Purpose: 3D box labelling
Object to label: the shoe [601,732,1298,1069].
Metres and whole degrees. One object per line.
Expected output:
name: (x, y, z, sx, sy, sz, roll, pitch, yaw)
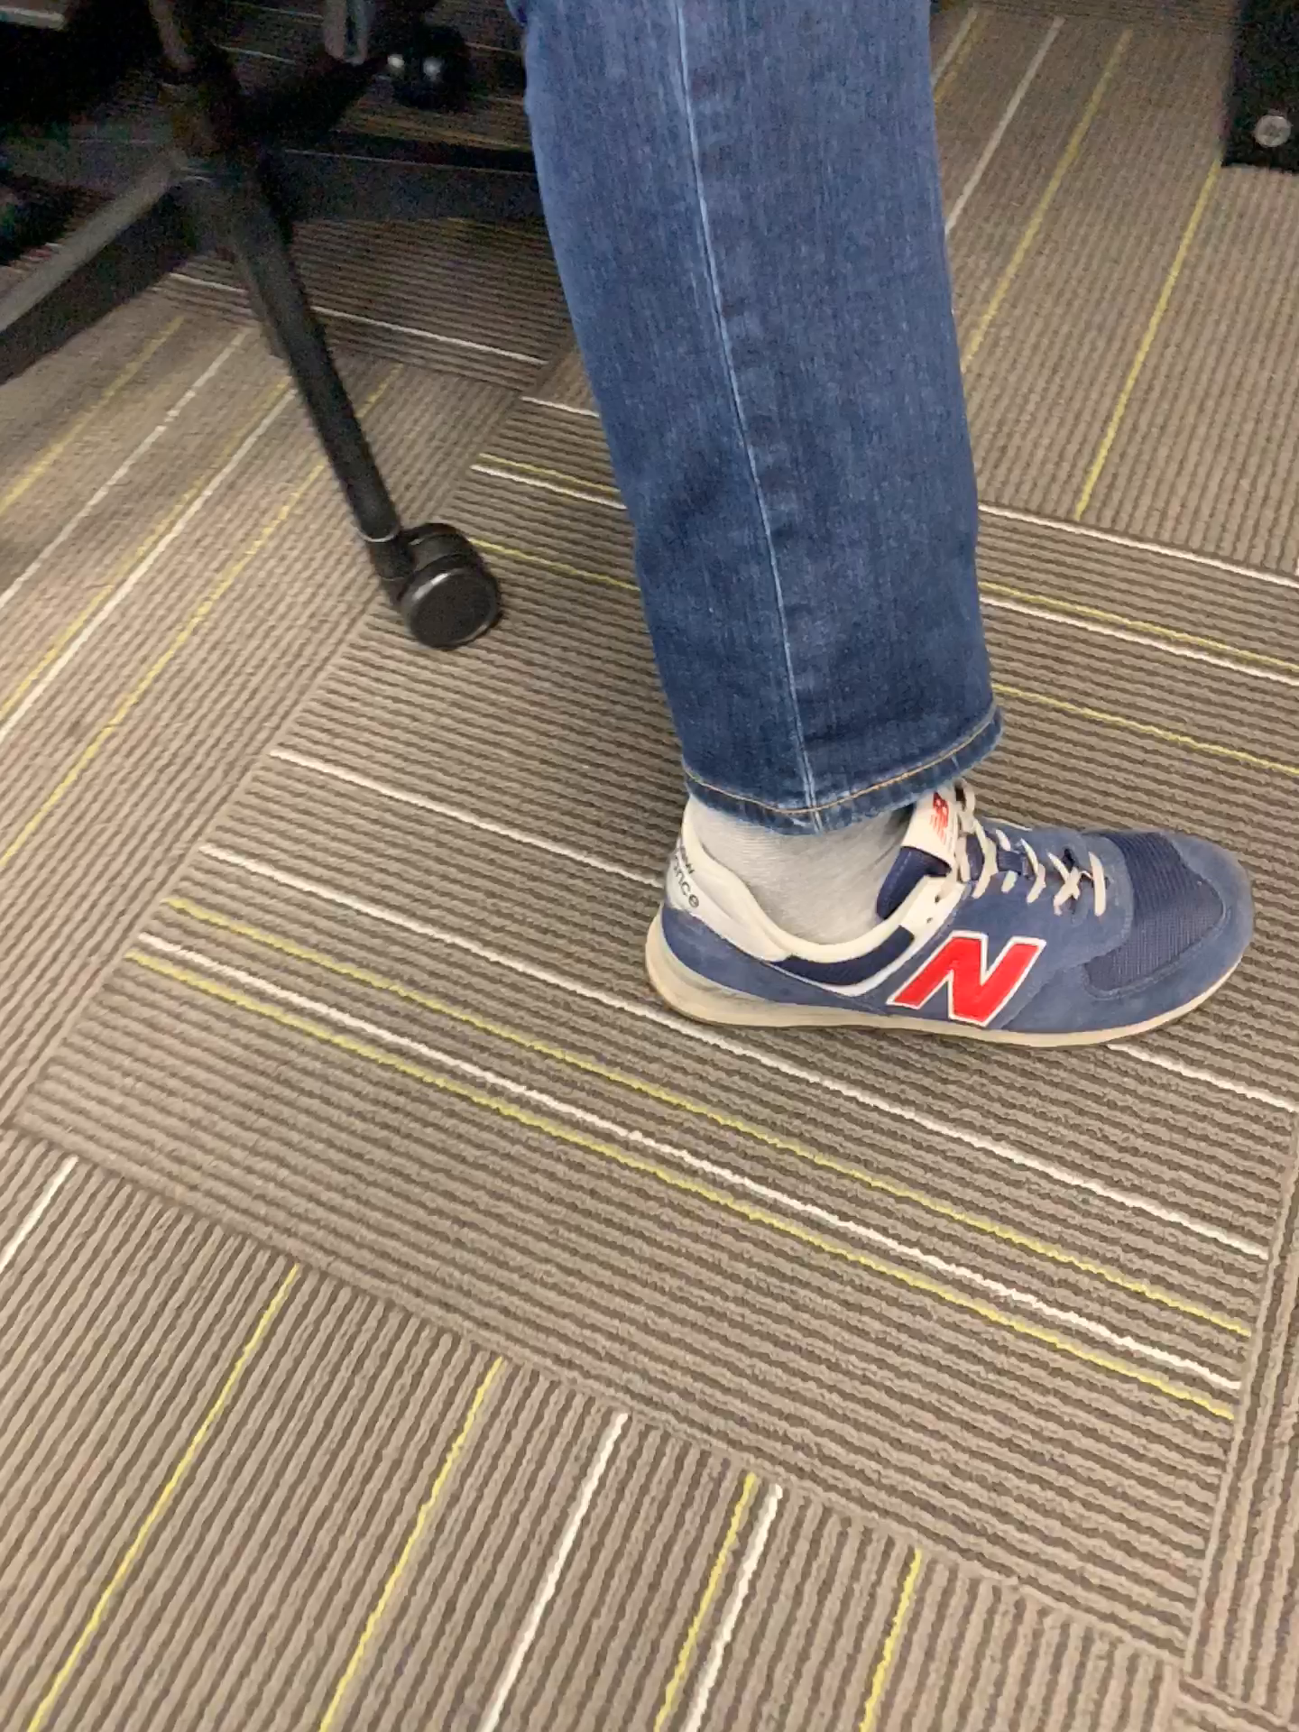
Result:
shoe: (0.140, 0.021, 0.656, 0.307, 0.139, 0.108, 0, 59, 6)
